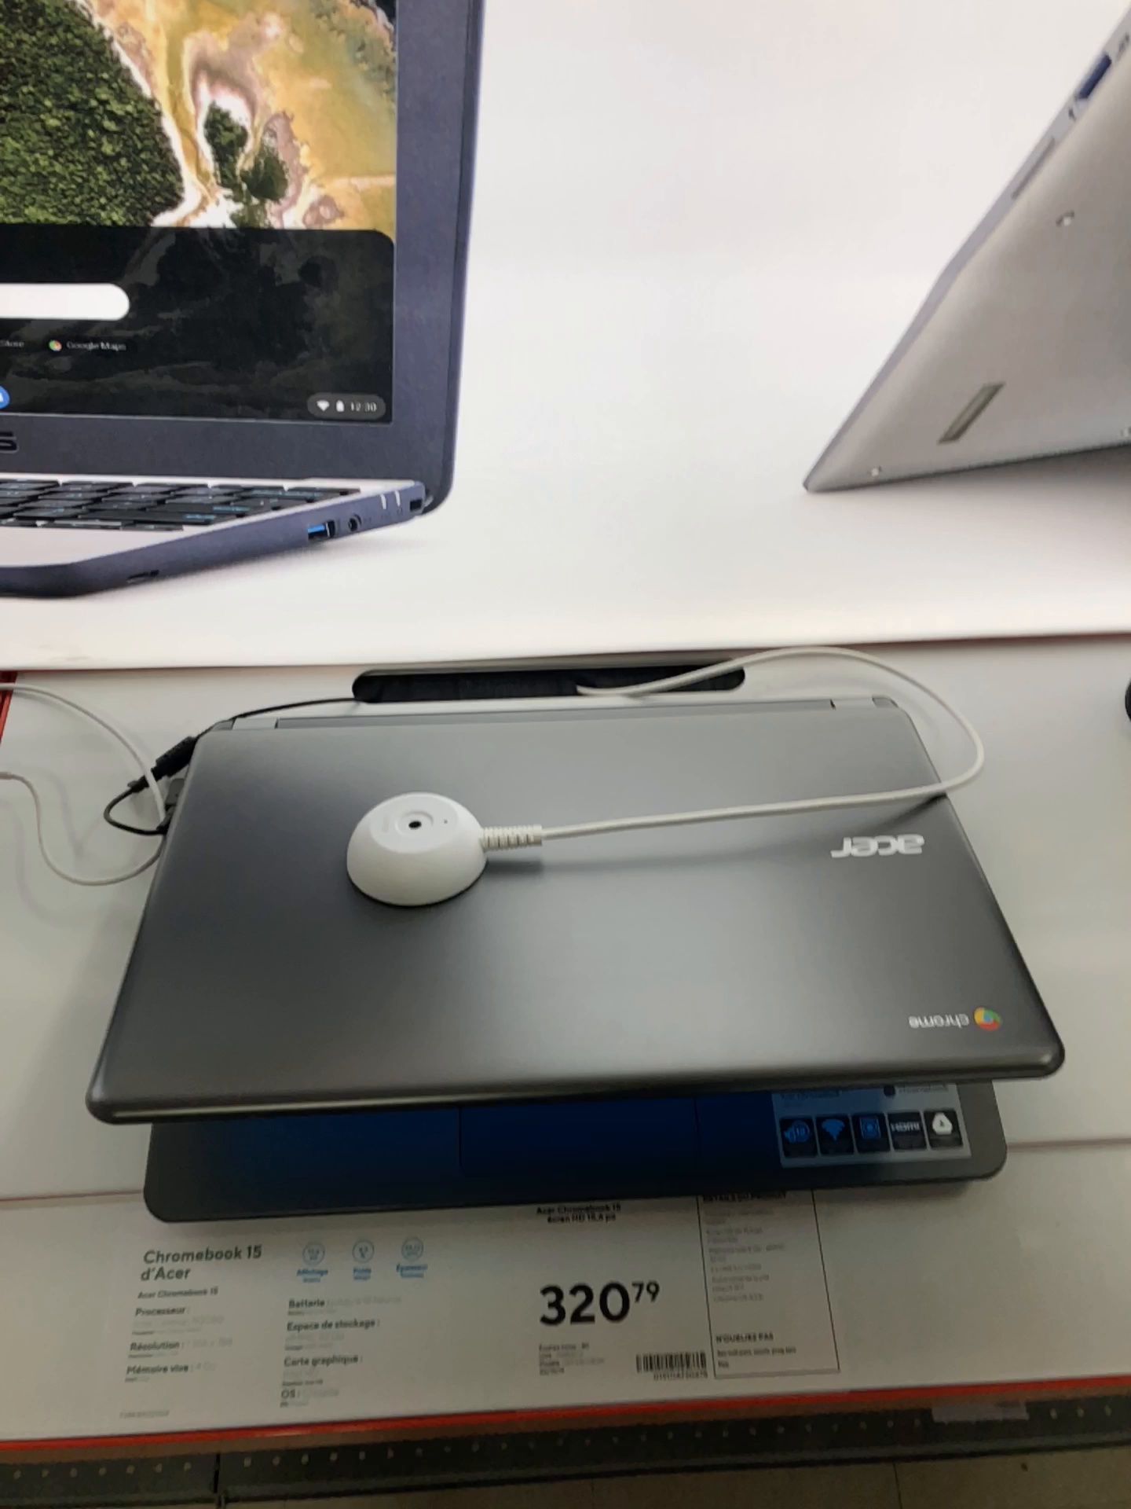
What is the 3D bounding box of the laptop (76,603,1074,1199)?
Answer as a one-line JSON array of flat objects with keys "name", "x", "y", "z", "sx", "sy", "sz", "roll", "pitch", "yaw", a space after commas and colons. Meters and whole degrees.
[{"name": "laptop", "x": -0.003, "y": 0.058, "z": 0.564, "sx": 0.369, "sy": 0.088, "sz": 0.248, "roll": -2, "pitch": 56, "yaw": -2}]
